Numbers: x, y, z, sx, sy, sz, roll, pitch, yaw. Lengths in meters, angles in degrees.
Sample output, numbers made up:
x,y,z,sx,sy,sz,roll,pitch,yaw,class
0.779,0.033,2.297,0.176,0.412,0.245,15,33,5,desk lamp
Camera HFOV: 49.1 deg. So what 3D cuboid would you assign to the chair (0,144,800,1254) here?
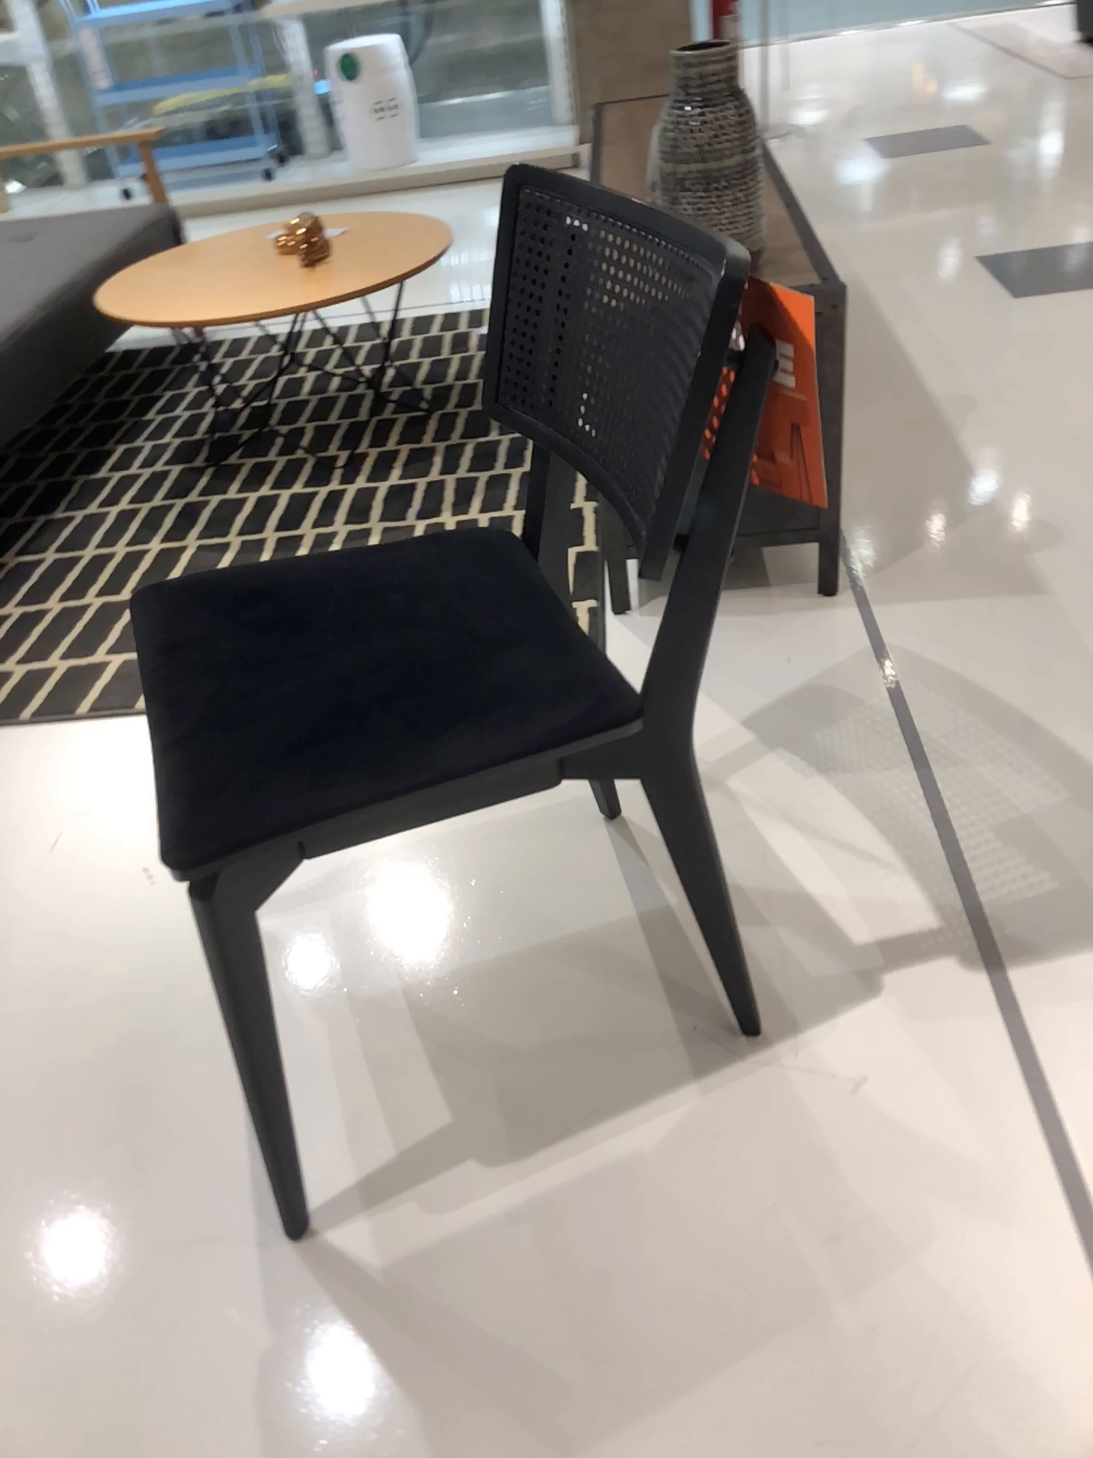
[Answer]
x,y,z,sx,sy,sz,roll,pitch,yaw,class
-0.143,-0.053,1.116,0.550,0.744,0.534,-17,36,-12,chair
